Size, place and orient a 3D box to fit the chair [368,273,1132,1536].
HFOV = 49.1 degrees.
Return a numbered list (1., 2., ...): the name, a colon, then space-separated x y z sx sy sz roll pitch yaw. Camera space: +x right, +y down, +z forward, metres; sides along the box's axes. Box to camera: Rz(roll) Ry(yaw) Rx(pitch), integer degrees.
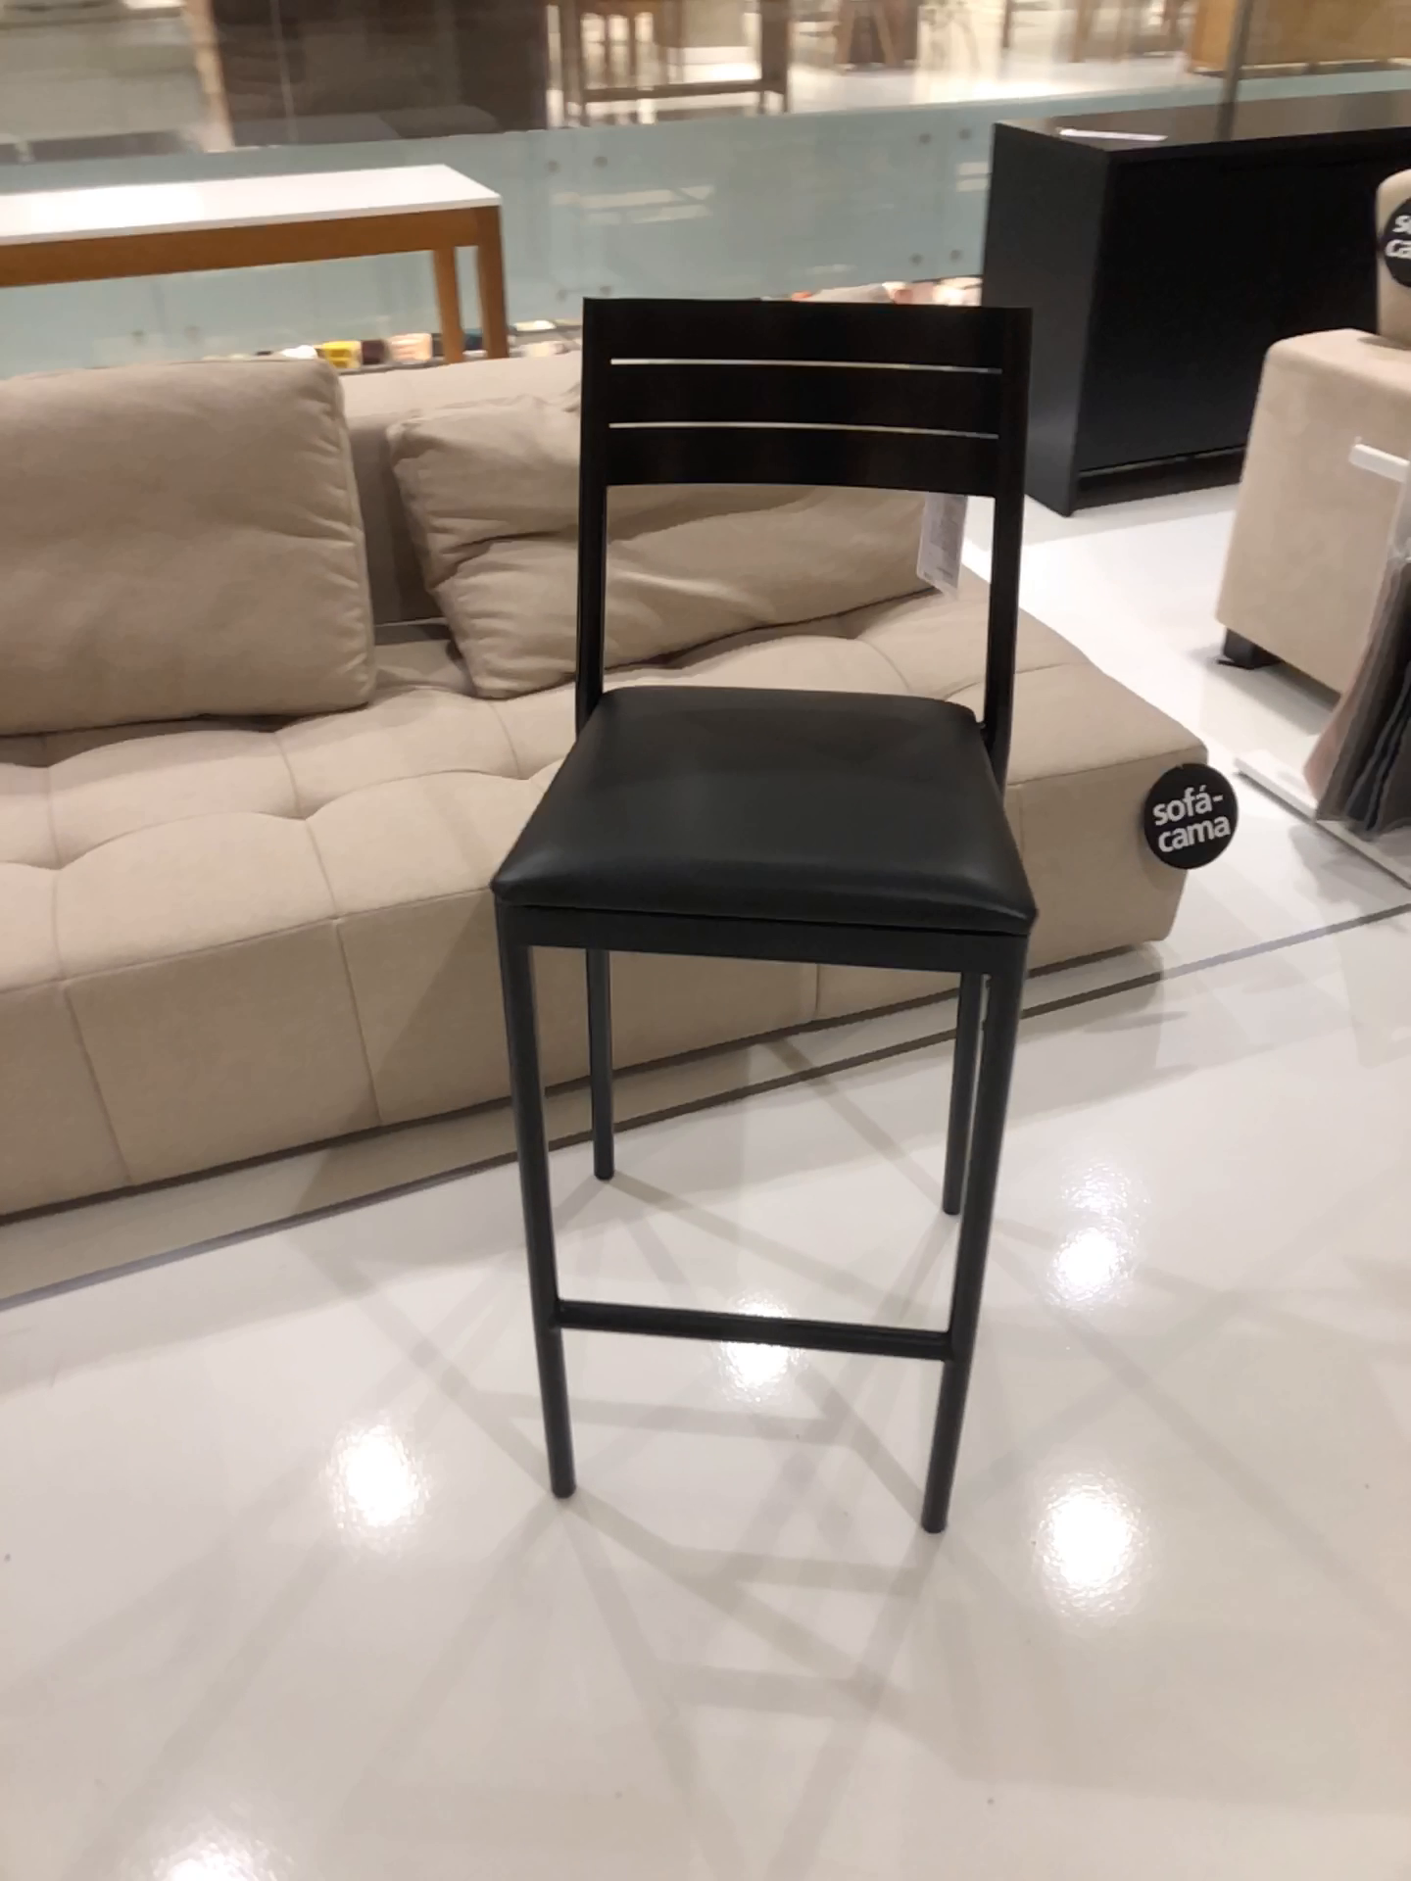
1. chair: 0.046 -0.006 1.309 0.420 0.942 0.474 3 35 5
